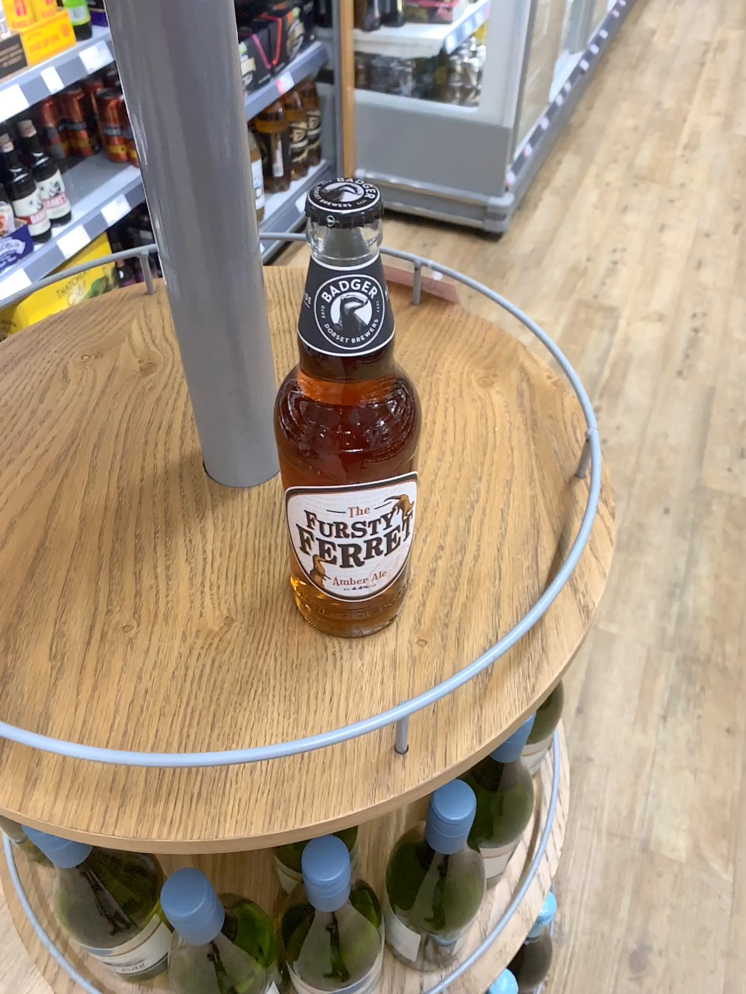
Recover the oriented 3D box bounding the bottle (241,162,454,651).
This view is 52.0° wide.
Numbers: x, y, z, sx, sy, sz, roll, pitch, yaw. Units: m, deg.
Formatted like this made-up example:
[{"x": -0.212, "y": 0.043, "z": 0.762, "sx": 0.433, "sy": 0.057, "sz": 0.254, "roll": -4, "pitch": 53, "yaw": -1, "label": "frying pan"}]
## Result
[{"x": -0.013, "y": -0.026, "z": 0.364, "sx": 0.069, "sy": 0.231, "sz": 0.076, "roll": -6, "pitch": 47, "yaw": -6, "label": "bottle"}]
